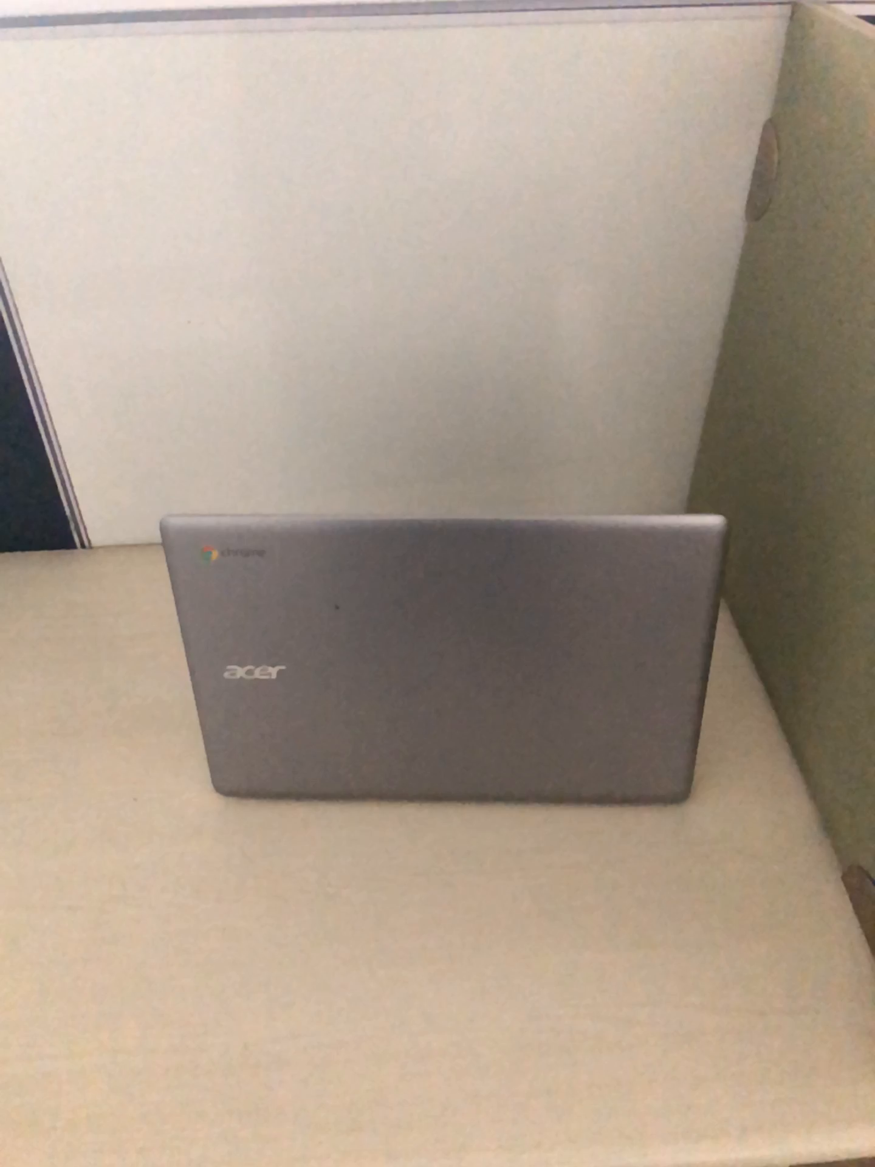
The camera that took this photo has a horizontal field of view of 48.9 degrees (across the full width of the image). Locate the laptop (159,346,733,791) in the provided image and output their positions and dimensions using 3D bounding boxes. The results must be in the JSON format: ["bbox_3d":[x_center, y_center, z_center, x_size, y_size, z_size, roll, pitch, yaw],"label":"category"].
[{"bbox_3d":[0.015,-0.013,0.691,0.321,0.218,0.222,1,40,1],"label":"laptop"}]
